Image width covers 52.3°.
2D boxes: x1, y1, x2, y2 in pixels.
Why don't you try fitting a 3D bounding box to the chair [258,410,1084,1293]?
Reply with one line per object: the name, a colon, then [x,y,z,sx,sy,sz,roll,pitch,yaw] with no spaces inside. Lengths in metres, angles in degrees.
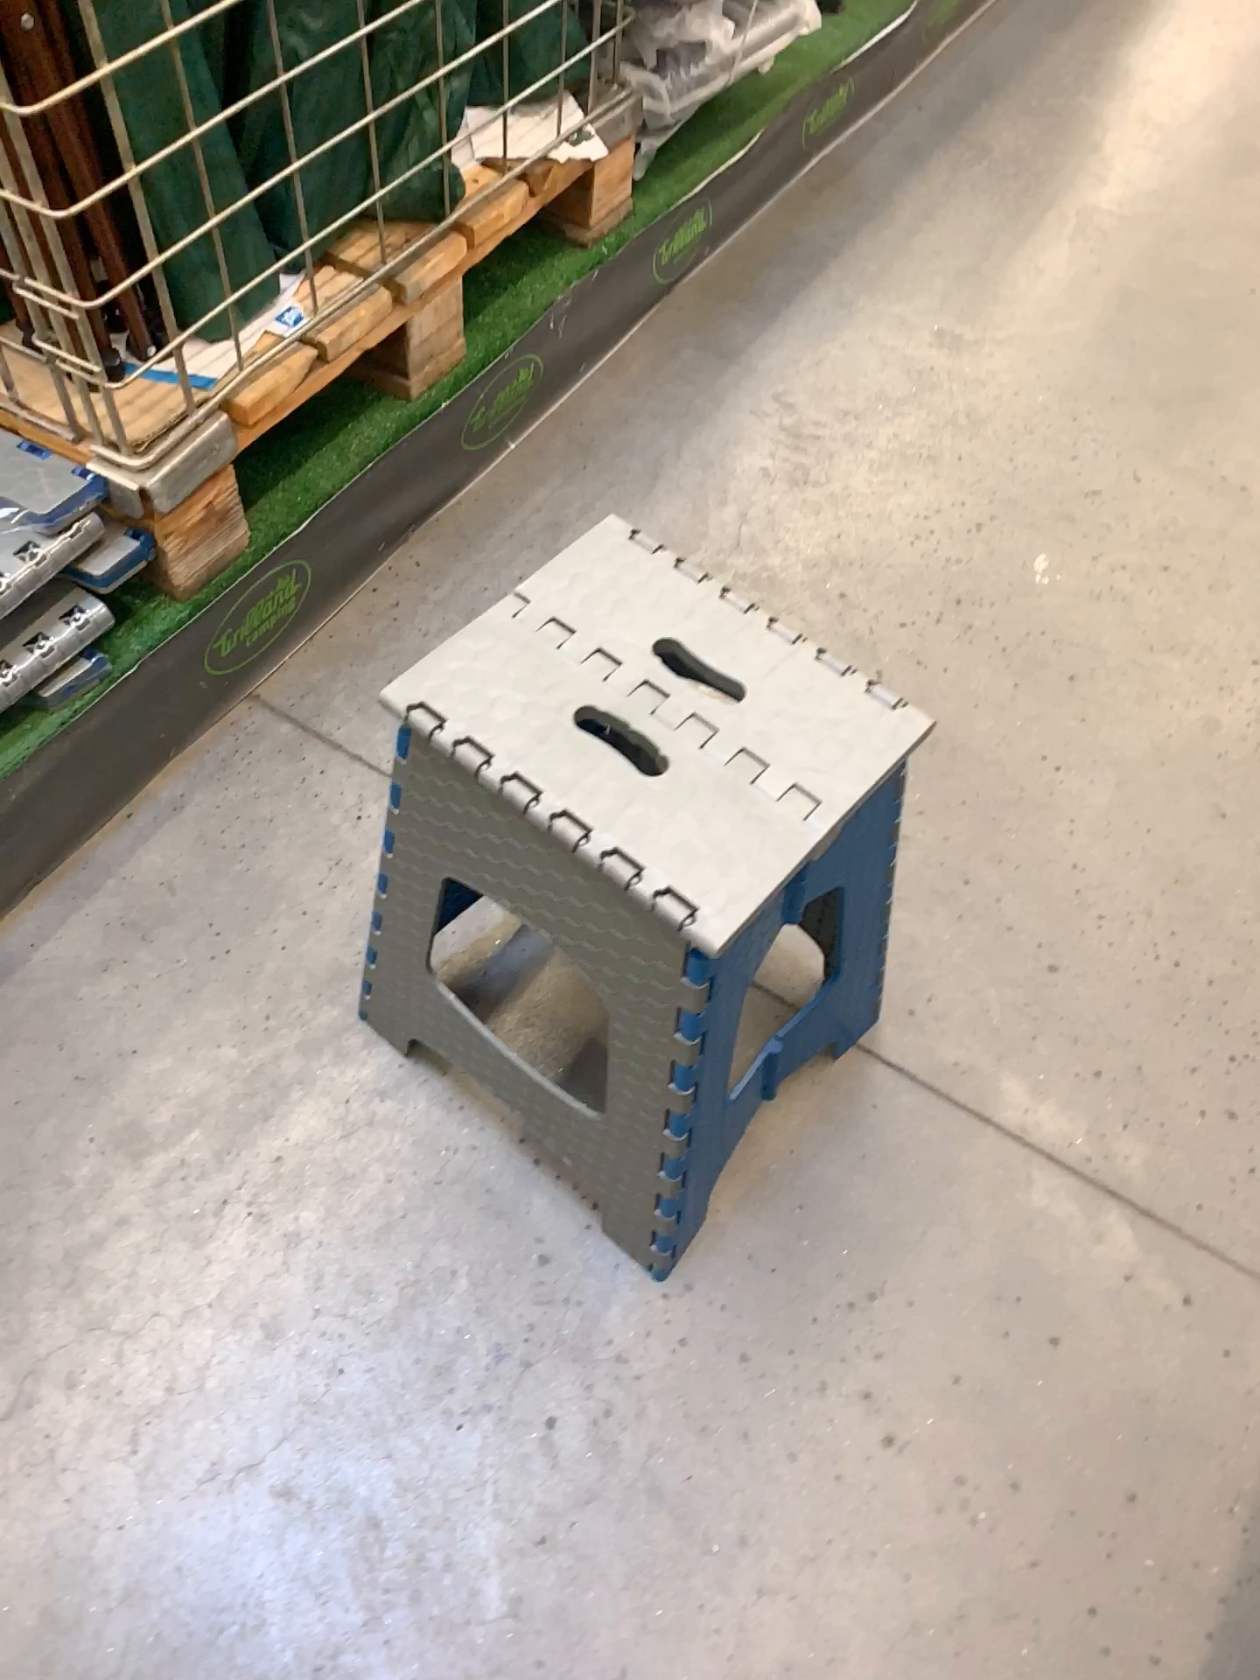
chair: [0.018,0.022,0.925,0.350,0.419,0.341,37,61,19]
